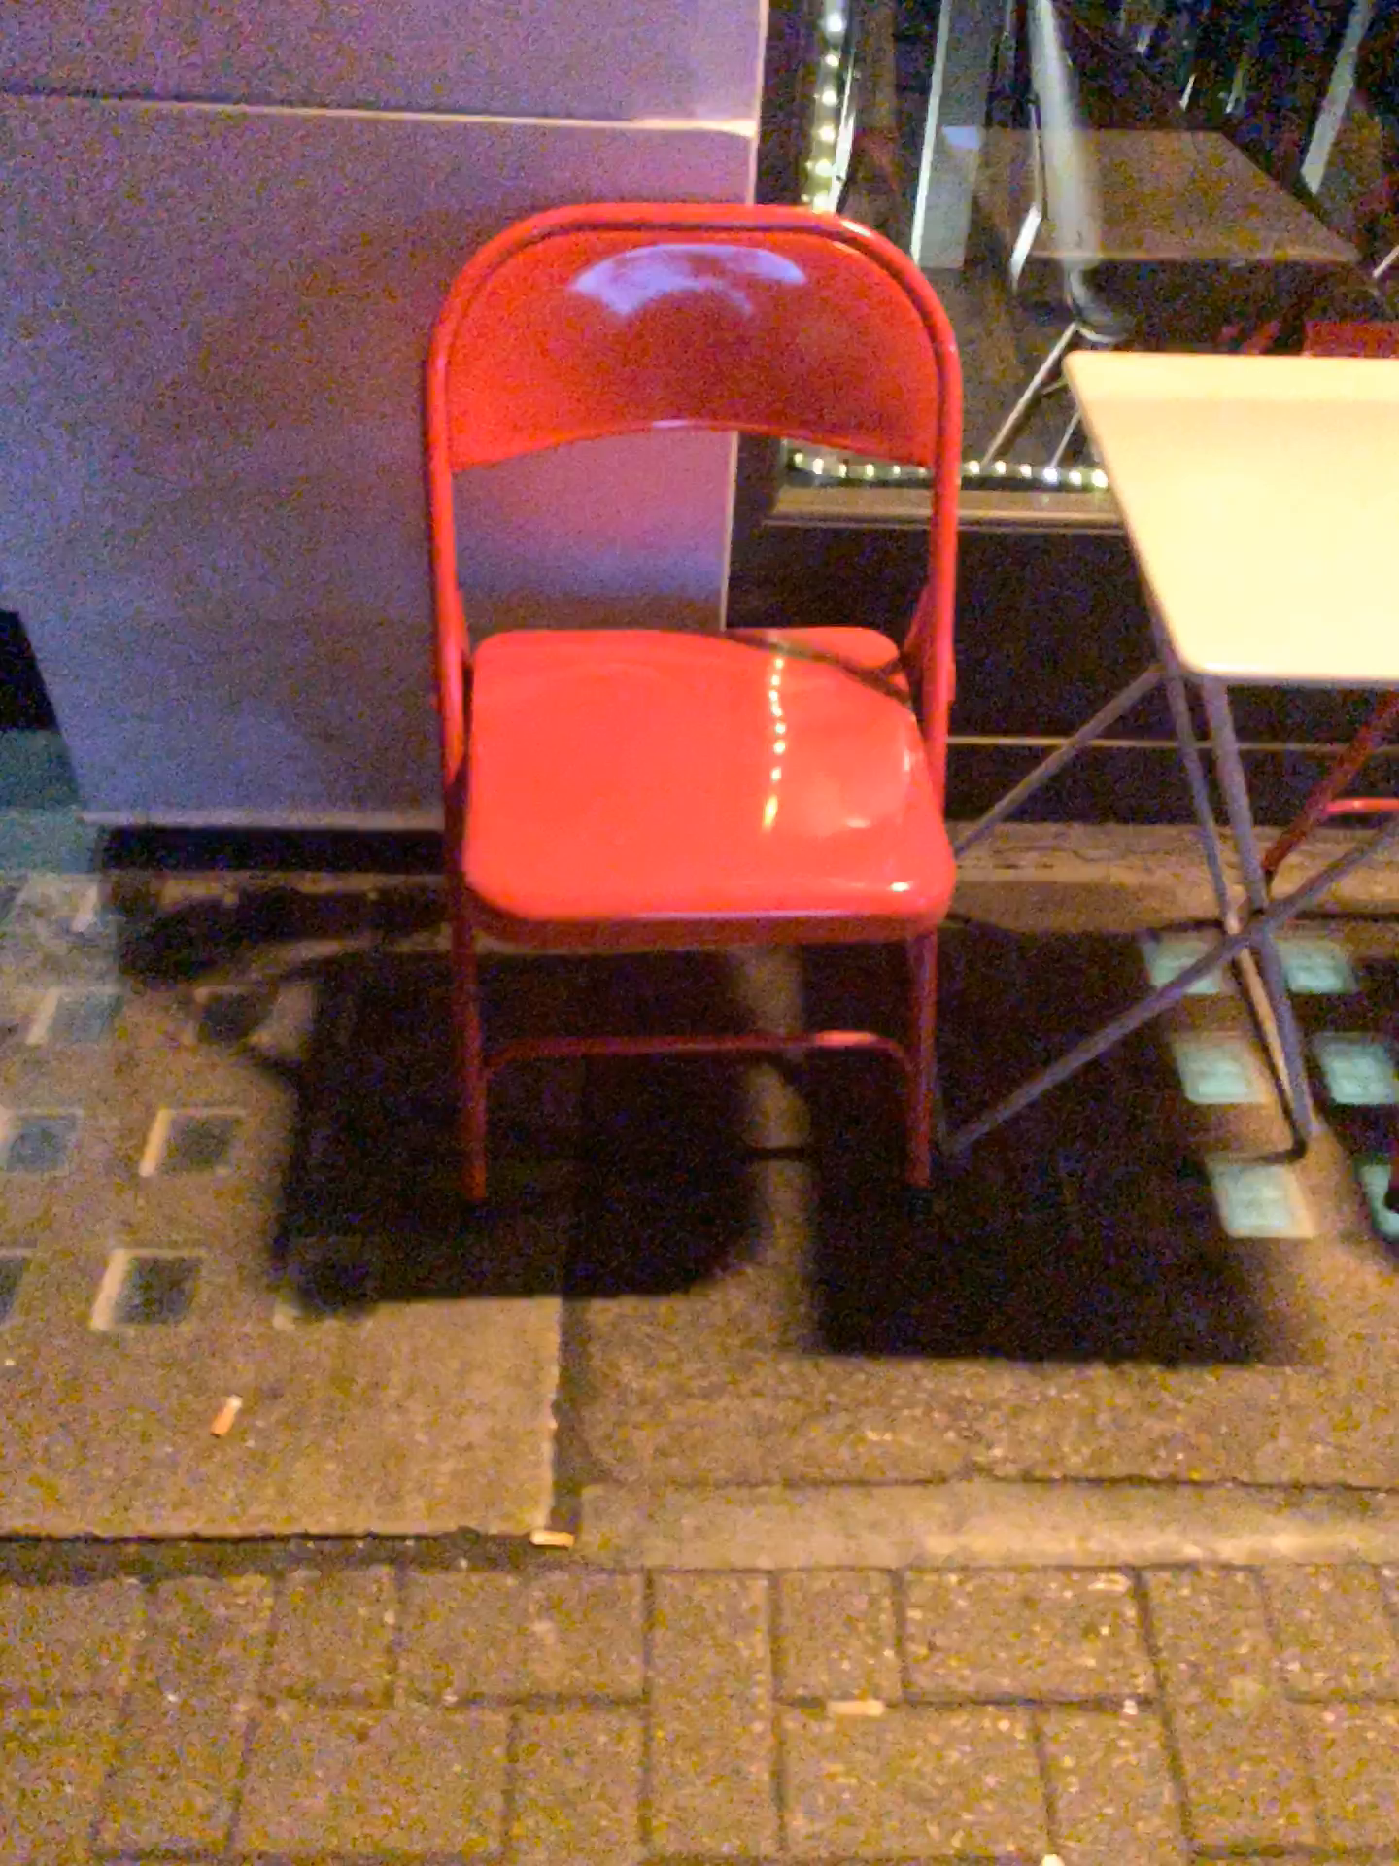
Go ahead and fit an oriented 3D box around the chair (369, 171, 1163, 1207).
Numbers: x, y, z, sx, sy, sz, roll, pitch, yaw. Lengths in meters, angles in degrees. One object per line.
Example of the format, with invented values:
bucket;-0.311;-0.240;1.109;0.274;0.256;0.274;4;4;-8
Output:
chair;0.014;-0.195;1.279;0.470;0.742;0.535;0;44;-4
